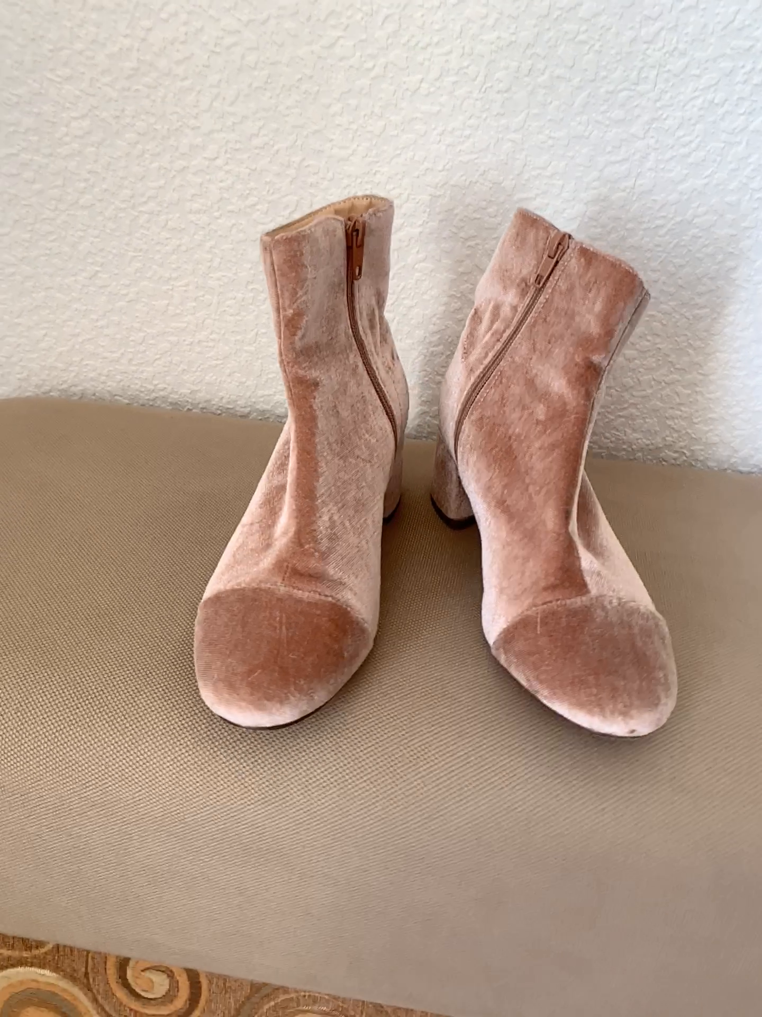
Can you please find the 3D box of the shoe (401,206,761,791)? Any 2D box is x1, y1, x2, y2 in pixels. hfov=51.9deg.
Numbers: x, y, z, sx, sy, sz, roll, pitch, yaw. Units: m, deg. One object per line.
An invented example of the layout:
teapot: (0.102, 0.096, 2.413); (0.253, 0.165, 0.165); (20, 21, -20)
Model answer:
shoe: (0.091, -0.032, 0.393); (0.100, 0.169, 0.271); (-3, 33, -10)

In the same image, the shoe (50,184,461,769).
shoe: (-0.032, -0.036, 0.366); (0.100, 0.169, 0.231); (8, 33, 7)
